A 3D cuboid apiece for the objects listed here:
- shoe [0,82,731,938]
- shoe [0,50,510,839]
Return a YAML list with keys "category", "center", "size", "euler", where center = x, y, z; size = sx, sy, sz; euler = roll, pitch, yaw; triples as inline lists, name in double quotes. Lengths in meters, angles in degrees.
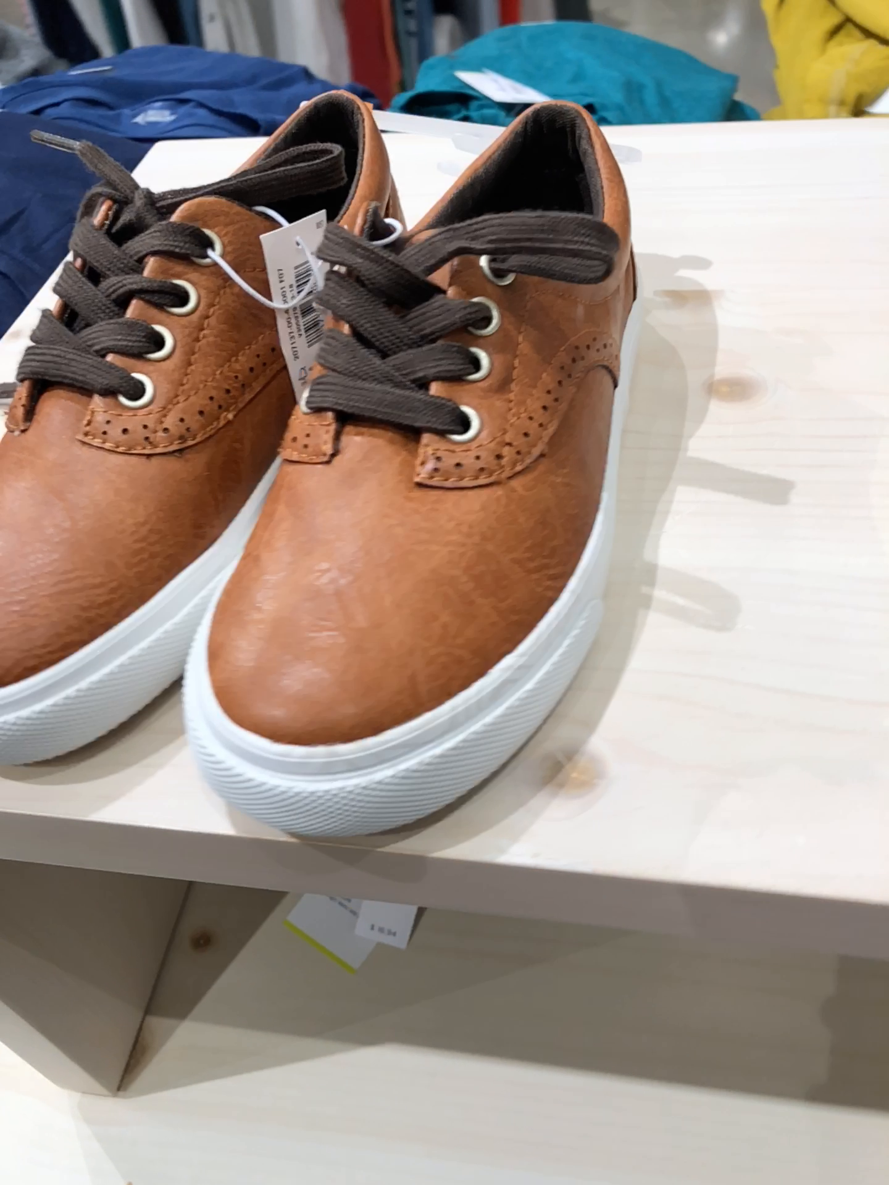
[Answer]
- category: "shoe"
  center: [0.002, -0.042, 0.246]
  size: [0.090, 0.080, 0.210]
  euler: [12, 50, 18]
- category: "shoe"
  center: [-0.068, -0.061, 0.277]
  size: [0.090, 0.090, 0.220]
  euler: [15, 51, 21]
